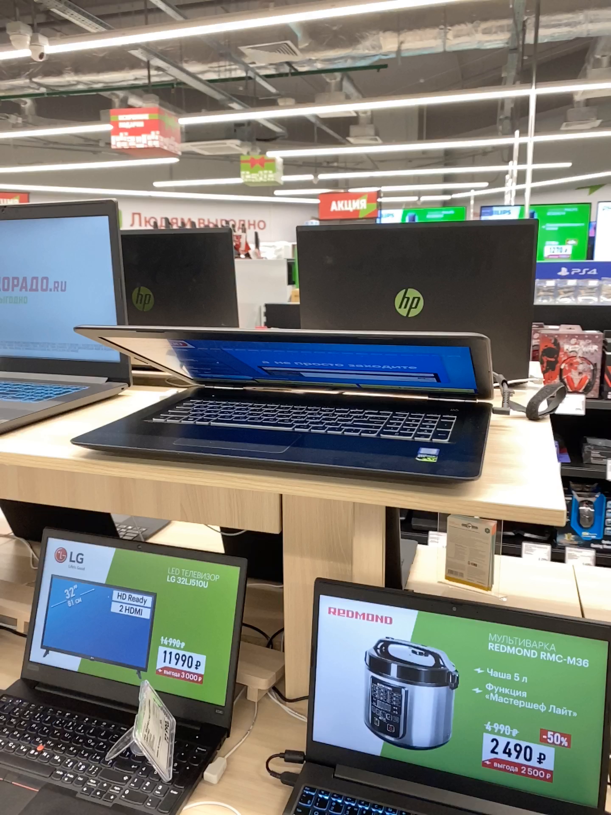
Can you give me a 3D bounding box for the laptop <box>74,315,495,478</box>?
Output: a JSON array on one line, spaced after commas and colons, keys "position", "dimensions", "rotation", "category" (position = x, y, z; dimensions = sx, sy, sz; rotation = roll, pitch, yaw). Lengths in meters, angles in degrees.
[{"position": [-0.004, -0.035, 0.687], "dimensions": [0.397, 0.103, 0.263], "rotation": [3, 14, 19], "category": "laptop"}]
